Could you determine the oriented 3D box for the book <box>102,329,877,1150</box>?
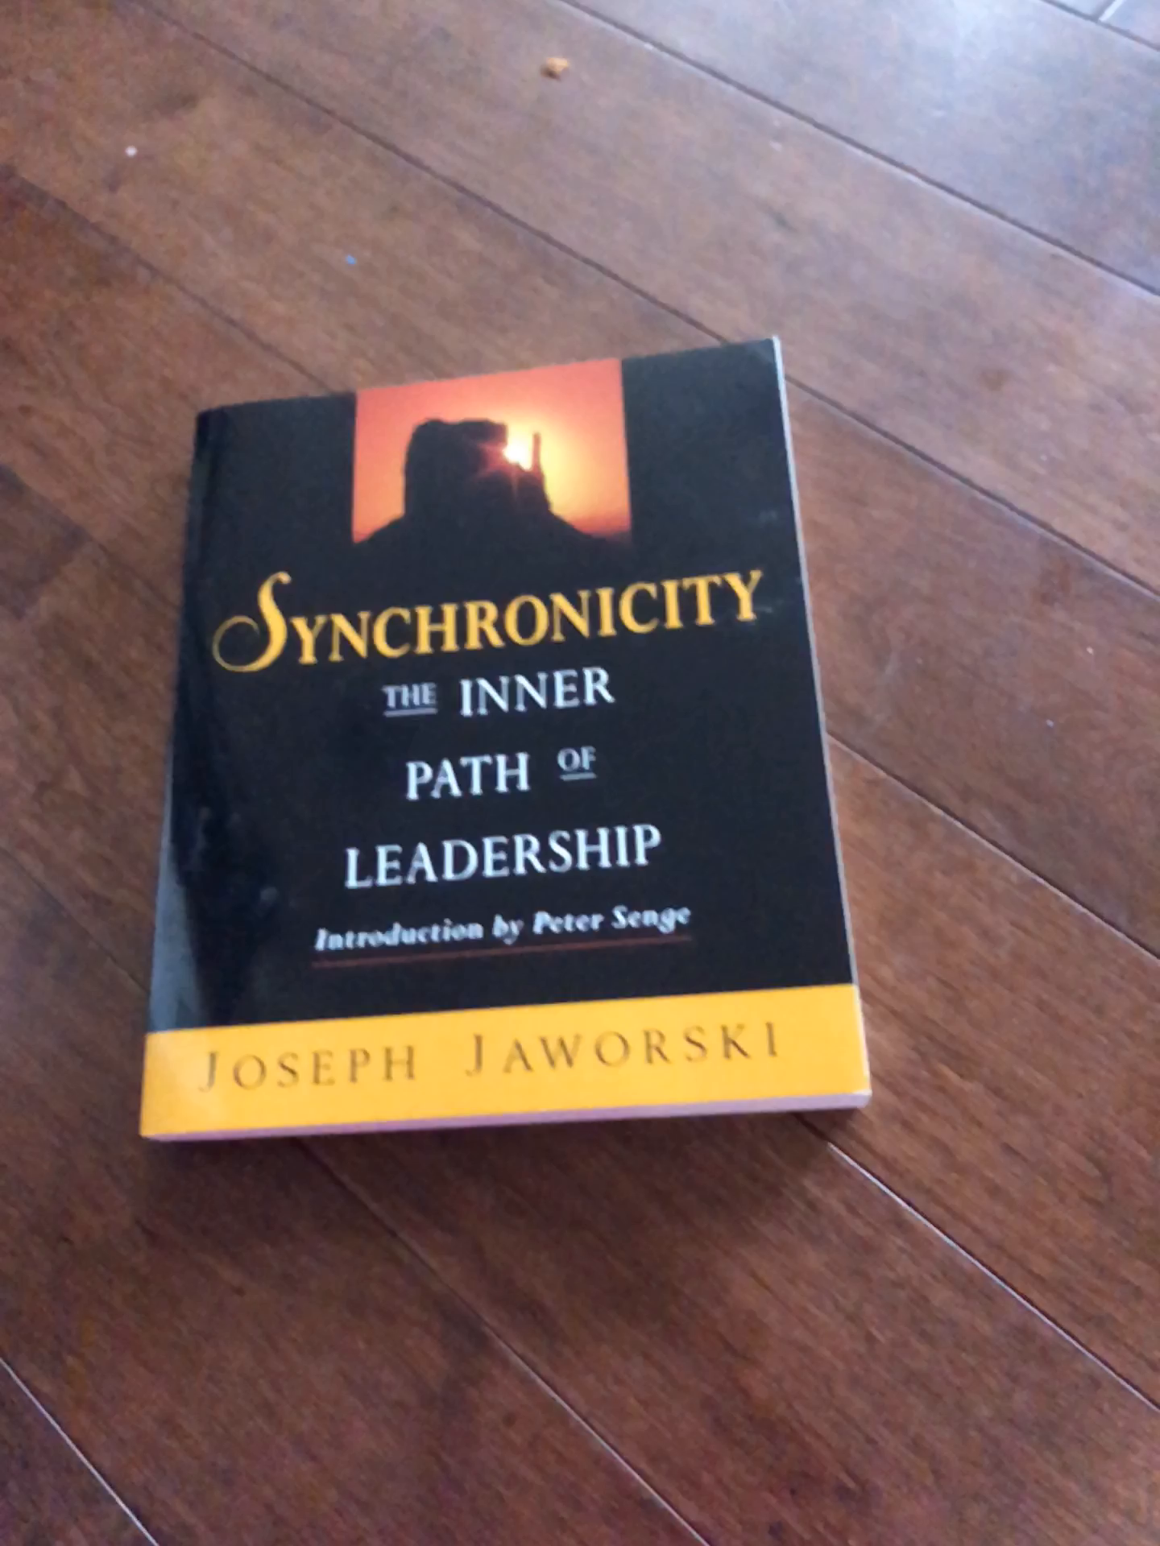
[{"bbox_3d":[-0.027,-0.015,0.368,0.190,0.030,0.223,-5,68,7],"label":"book"}]
